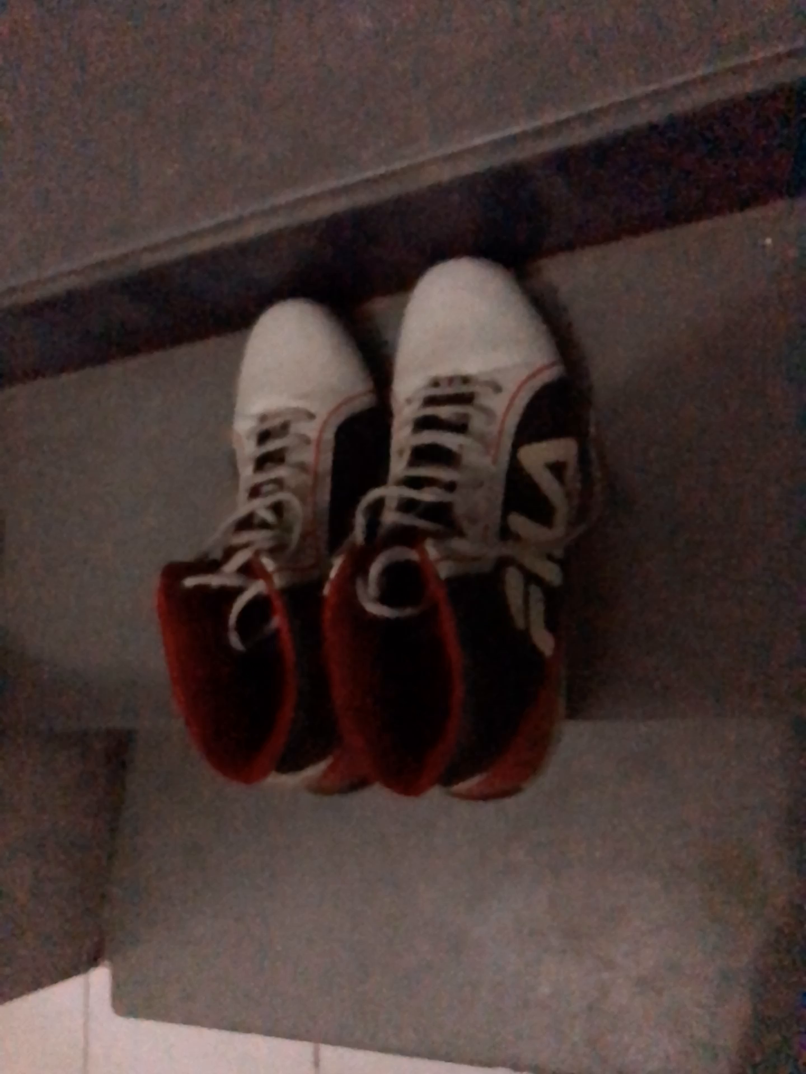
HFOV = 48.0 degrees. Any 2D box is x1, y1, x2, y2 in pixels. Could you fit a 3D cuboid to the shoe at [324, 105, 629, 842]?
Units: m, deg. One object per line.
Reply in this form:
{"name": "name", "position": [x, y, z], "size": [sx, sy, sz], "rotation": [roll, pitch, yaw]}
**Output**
{"name": "shoe", "position": [0.035, -0.025, 0.439], "size": [0.110, 0.100, 0.310], "rotation": [-5, 80, 25]}

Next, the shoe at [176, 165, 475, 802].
{"name": "shoe", "position": [-0.043, -0.020, 0.504], "size": [0.110, 0.120, 0.310], "rotation": [-8, 78, 25]}
